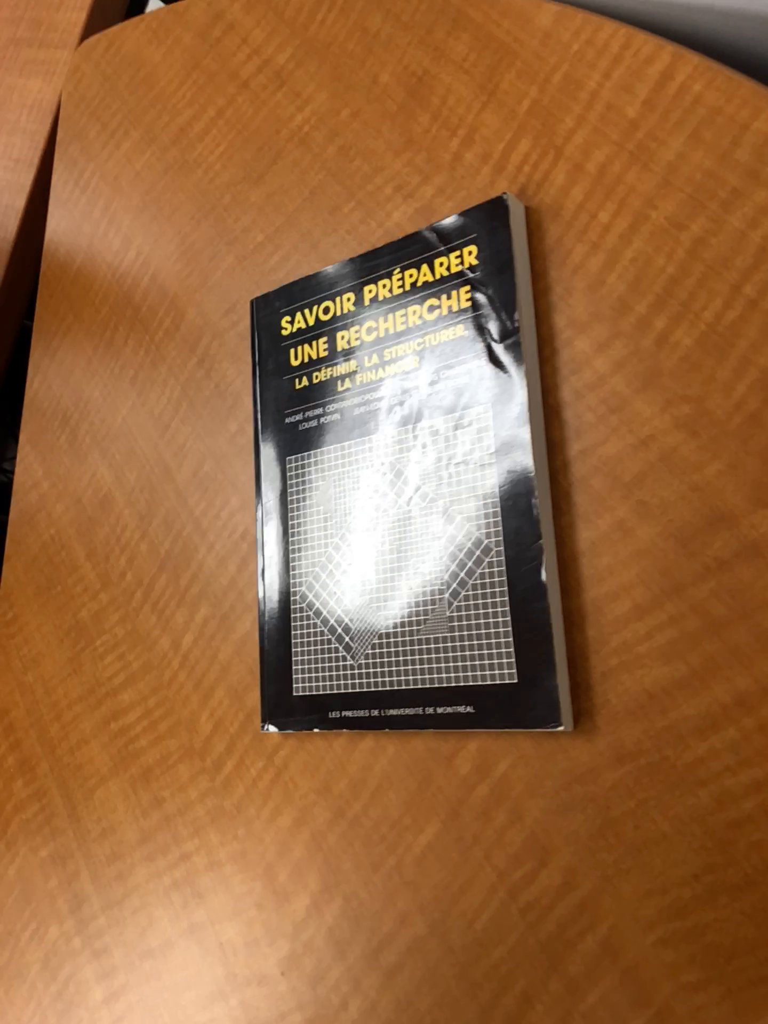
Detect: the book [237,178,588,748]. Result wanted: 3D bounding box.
[{"bbox_3d":[0.002,-0.015,0.403,0.160,0.030,0.240,-12,75,33],"label":"book"}]
